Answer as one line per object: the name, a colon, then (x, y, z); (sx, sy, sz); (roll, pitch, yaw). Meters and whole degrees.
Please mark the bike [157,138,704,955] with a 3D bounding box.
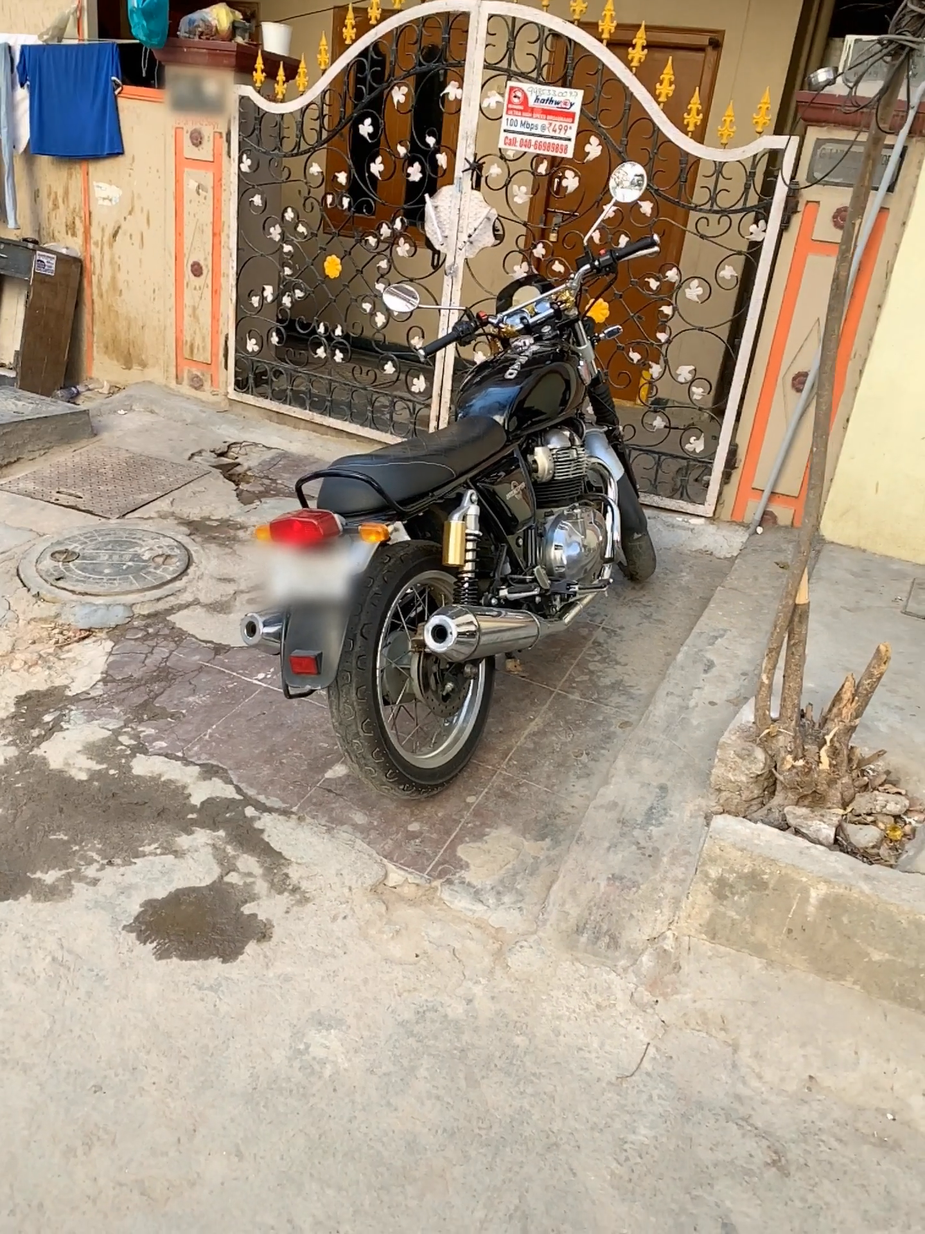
bike: (0.018, -0.468, 2.760); (0.791, 1.522, 1.912); (14, 29, 16)
